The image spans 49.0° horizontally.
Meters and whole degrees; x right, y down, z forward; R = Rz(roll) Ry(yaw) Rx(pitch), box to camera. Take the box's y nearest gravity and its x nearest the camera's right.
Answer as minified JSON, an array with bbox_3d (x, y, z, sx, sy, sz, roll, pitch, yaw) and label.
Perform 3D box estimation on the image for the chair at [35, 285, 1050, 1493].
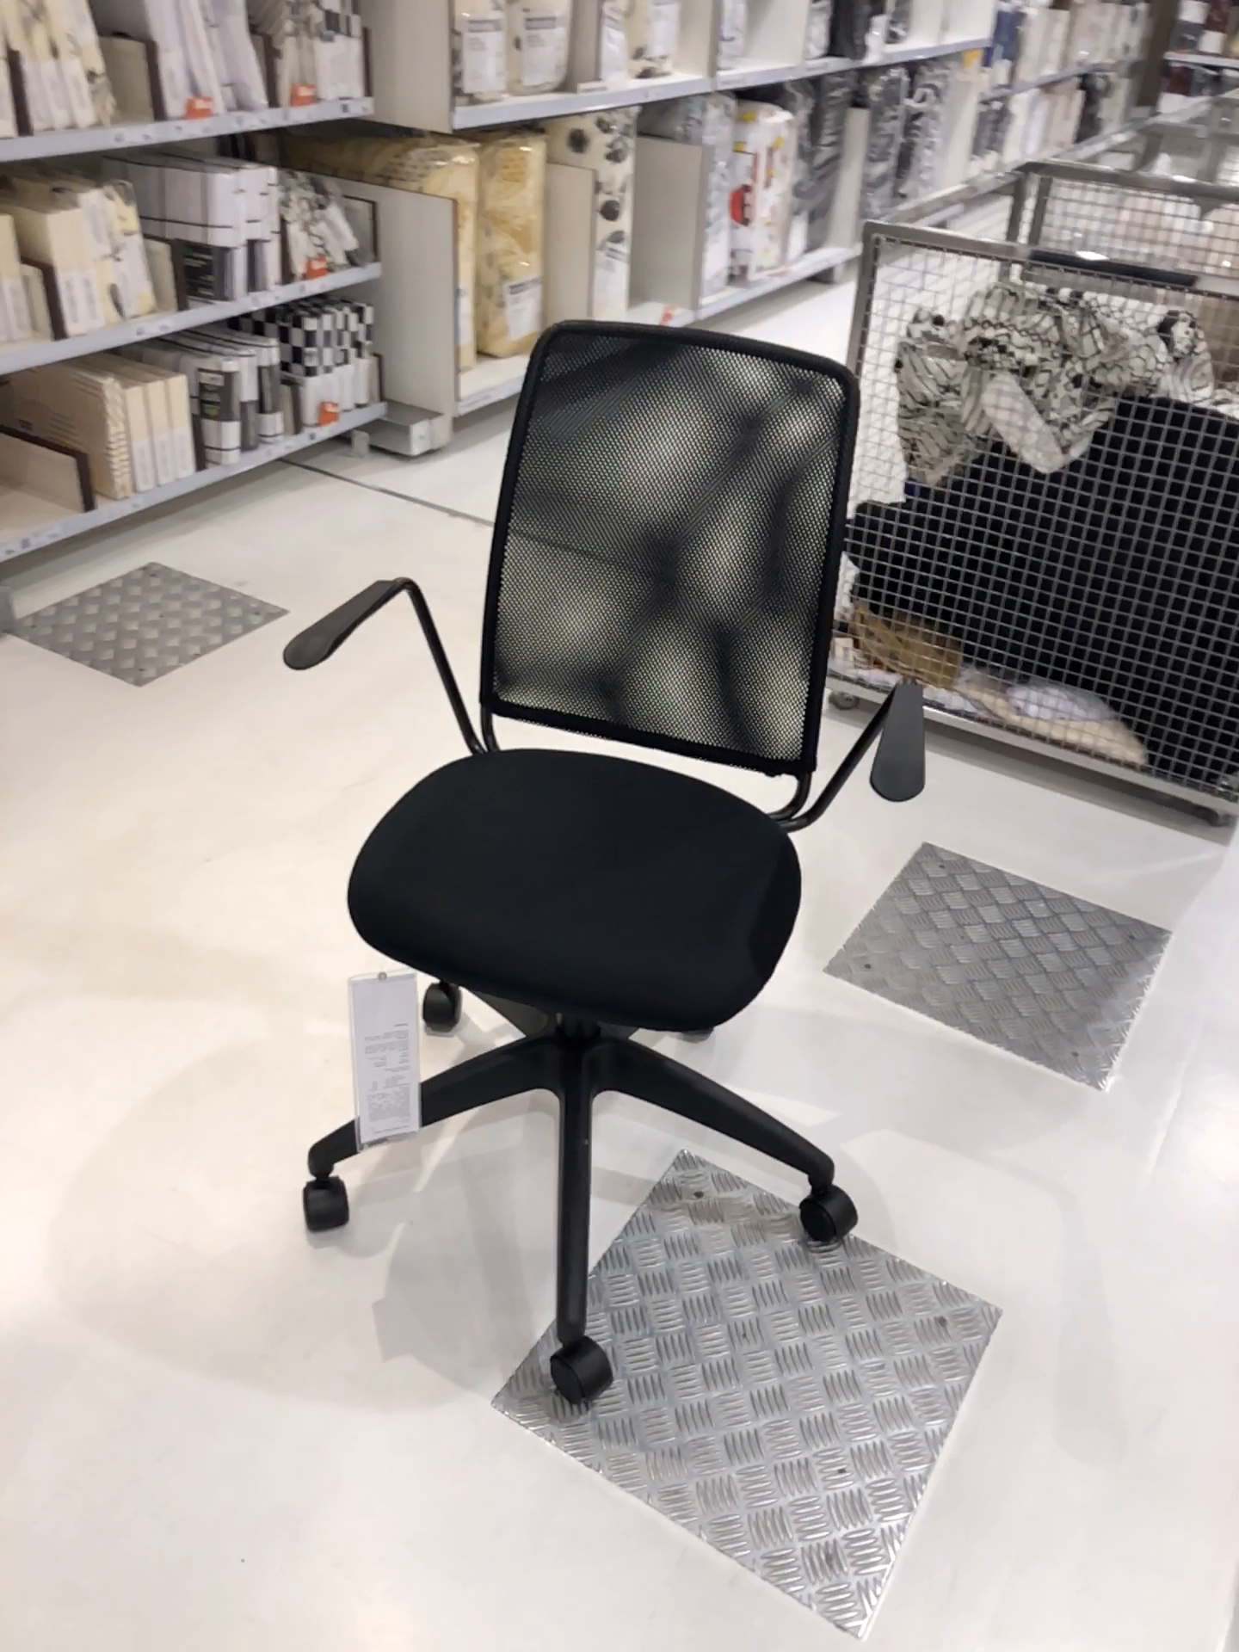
[{"bbox_3d":[-0.003,0.010,1.327,0.630,0.813,0.695,12,35,12],"label":"chair"}]
